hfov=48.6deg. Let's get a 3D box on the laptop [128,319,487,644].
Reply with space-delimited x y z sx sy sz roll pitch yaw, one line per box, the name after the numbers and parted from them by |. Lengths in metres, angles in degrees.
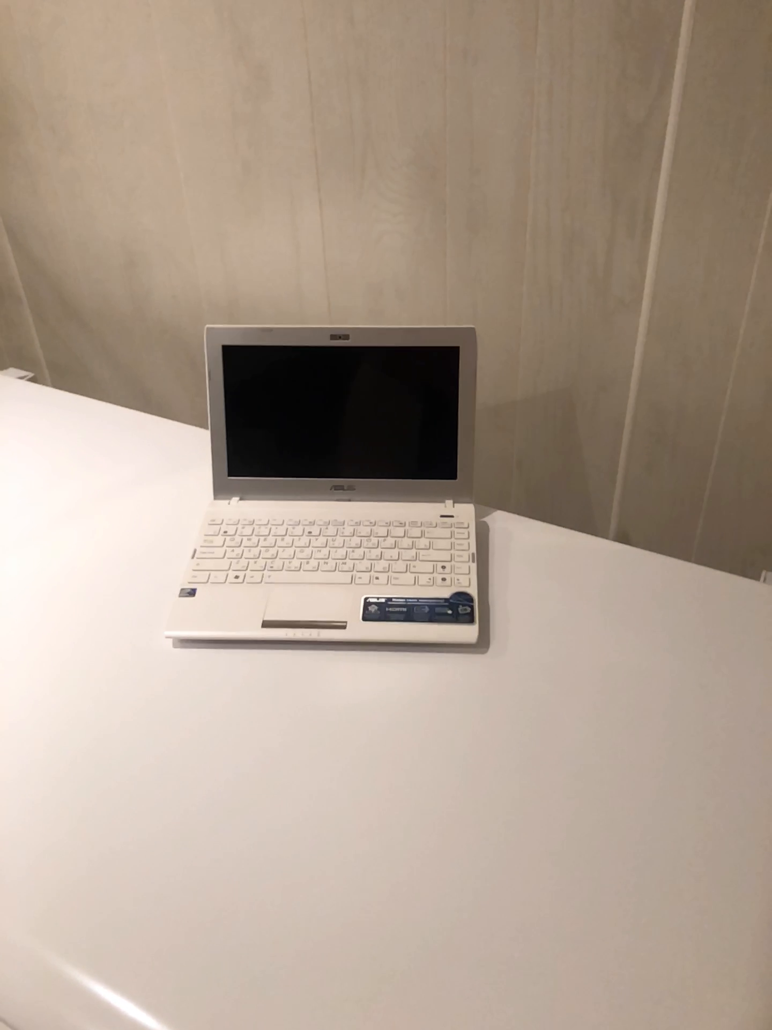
-0.053 -0.047 0.840 0.287 0.168 0.294 1 38 4 | laptop
